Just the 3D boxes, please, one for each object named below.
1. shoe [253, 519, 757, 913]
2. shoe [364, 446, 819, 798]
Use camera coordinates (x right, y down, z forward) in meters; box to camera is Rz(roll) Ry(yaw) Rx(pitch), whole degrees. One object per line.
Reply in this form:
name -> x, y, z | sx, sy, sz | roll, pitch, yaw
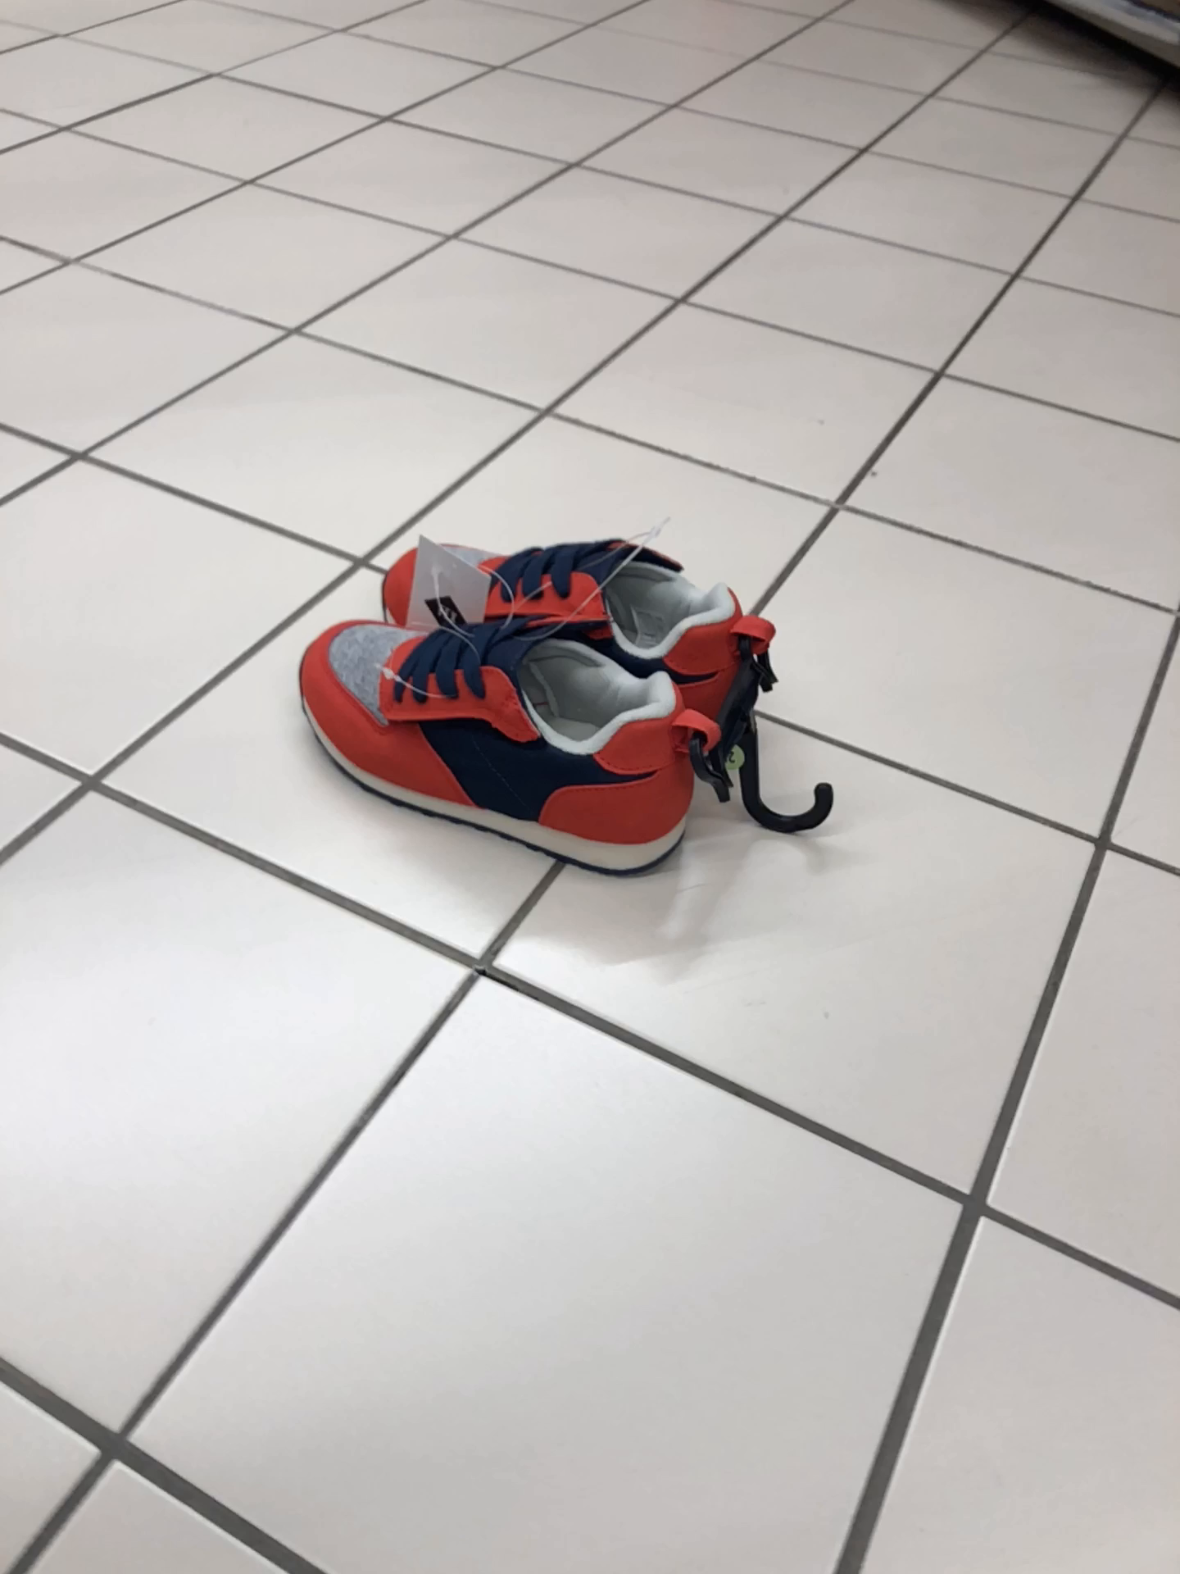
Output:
shoe -> -0.036, -0.034, 0.559 | 0.188, 0.083, 0.083 | 20, 46, 16
shoe -> -0.001, -0.081, 0.610 | 0.187, 0.083, 0.083 | 20, 46, 16
